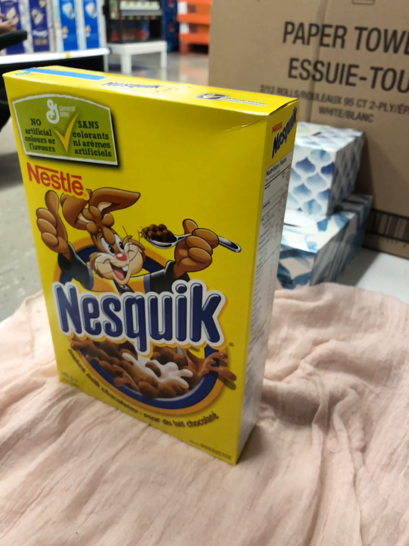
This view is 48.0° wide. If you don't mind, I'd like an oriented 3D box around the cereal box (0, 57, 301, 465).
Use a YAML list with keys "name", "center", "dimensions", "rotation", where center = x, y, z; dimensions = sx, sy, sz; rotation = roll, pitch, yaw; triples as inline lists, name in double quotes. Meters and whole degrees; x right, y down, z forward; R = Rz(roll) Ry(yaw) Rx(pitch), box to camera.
- name: "cereal box"
  center: [-0.050, -0.008, 0.341]
  dimensions: [0.200, 0.259, 0.060]
  rotation: [18, 35, 25]
